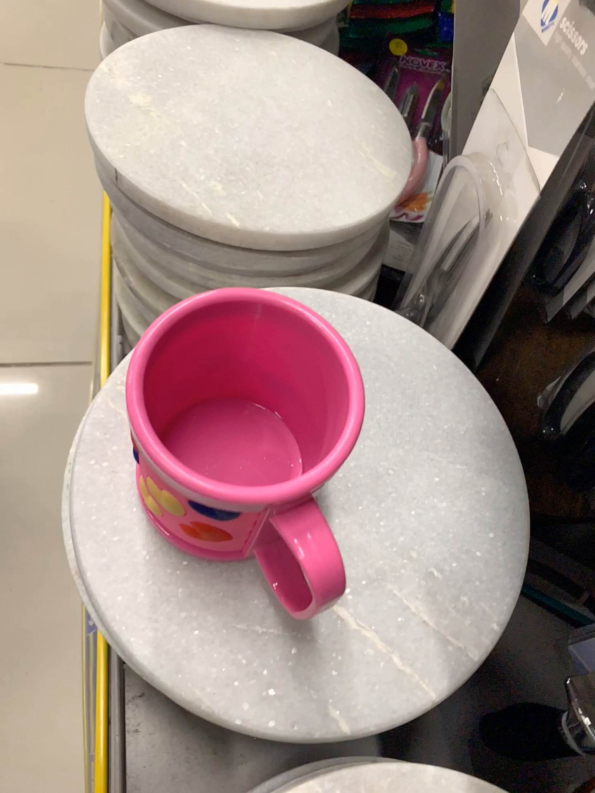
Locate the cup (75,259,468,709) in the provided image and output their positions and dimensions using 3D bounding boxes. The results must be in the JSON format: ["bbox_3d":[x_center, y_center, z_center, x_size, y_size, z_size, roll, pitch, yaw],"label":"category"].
[{"bbox_3d":[-0.020,0.035,0.232,0.080,0.100,0.120,-19,65,-21],"label":"cup"}]
